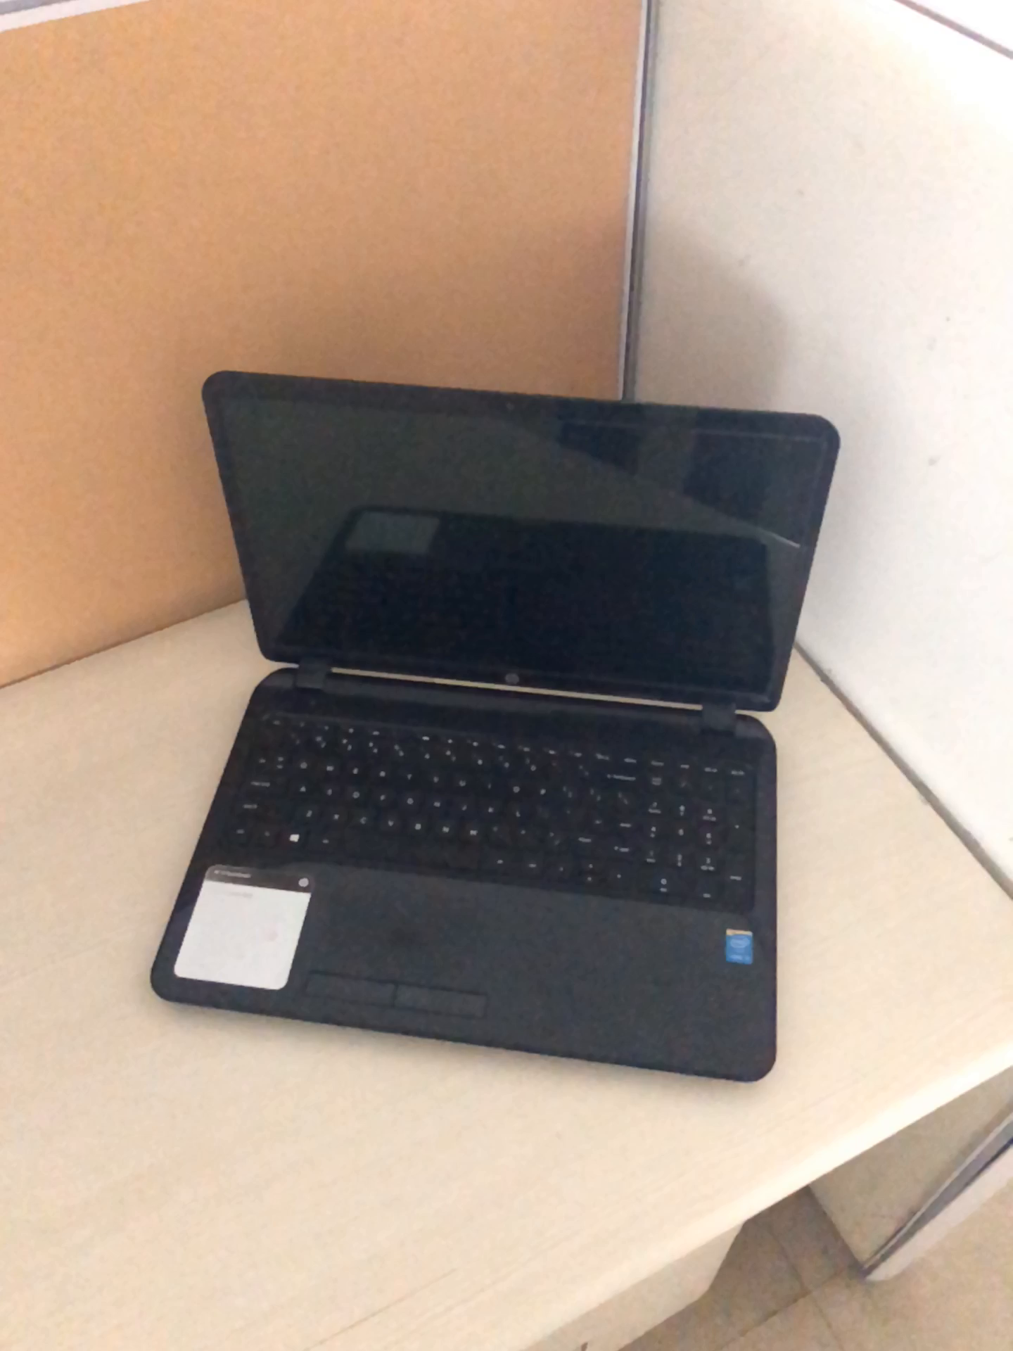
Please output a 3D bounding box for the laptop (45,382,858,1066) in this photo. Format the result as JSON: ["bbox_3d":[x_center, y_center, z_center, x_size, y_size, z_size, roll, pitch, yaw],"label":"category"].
[{"bbox_3d":[-0.004,0.024,0.638,0.350,0.226,0.266,6,52,7],"label":"laptop"}]
